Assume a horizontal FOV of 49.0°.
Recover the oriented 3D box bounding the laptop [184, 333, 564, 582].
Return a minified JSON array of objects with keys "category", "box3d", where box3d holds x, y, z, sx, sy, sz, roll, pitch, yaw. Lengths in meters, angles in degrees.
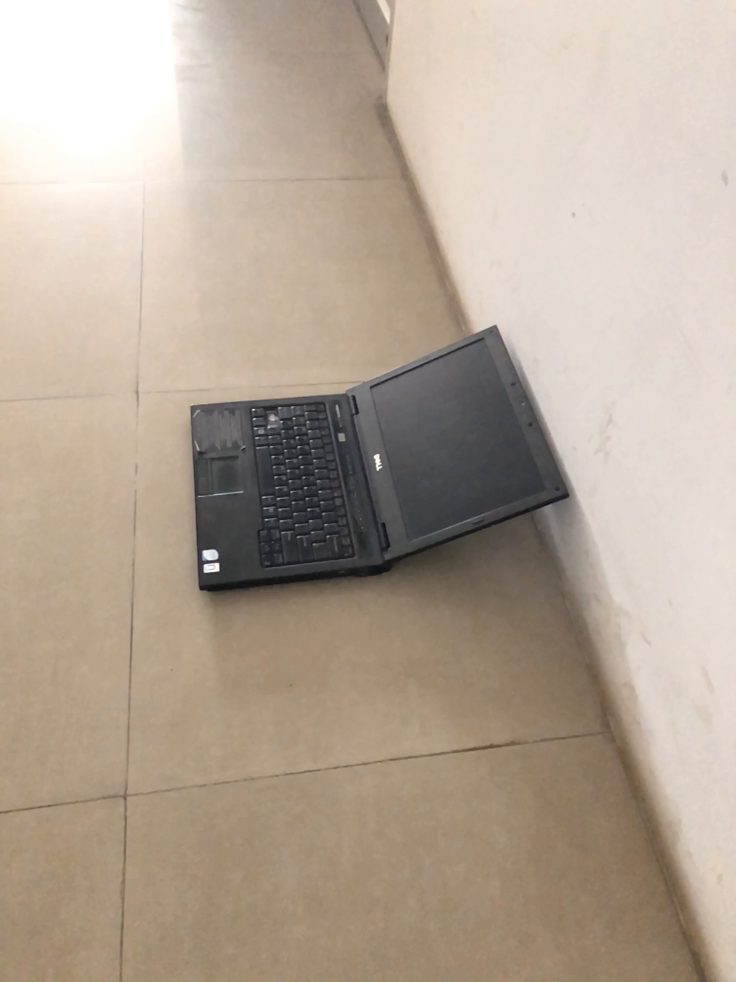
[{"category":"laptop","box3d":[-0.011,-0.057,1.055,0.432,0.114,0.300,-5,49,-9]}]
